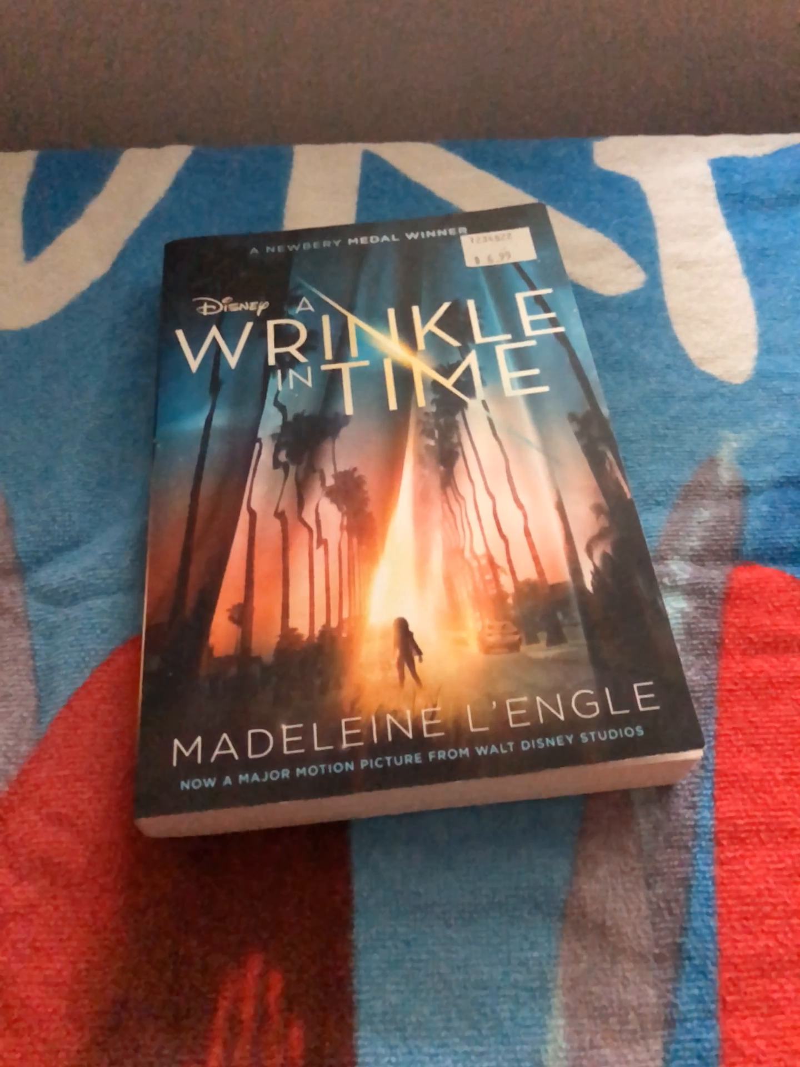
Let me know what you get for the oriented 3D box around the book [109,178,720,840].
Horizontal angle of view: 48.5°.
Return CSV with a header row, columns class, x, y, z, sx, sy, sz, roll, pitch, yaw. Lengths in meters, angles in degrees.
class,x,y,z,sx,sy,sz,roll,pitch,yaw
book,-0.004,-0.021,0.262,0.138,0.031,0.196,-6,60,0
